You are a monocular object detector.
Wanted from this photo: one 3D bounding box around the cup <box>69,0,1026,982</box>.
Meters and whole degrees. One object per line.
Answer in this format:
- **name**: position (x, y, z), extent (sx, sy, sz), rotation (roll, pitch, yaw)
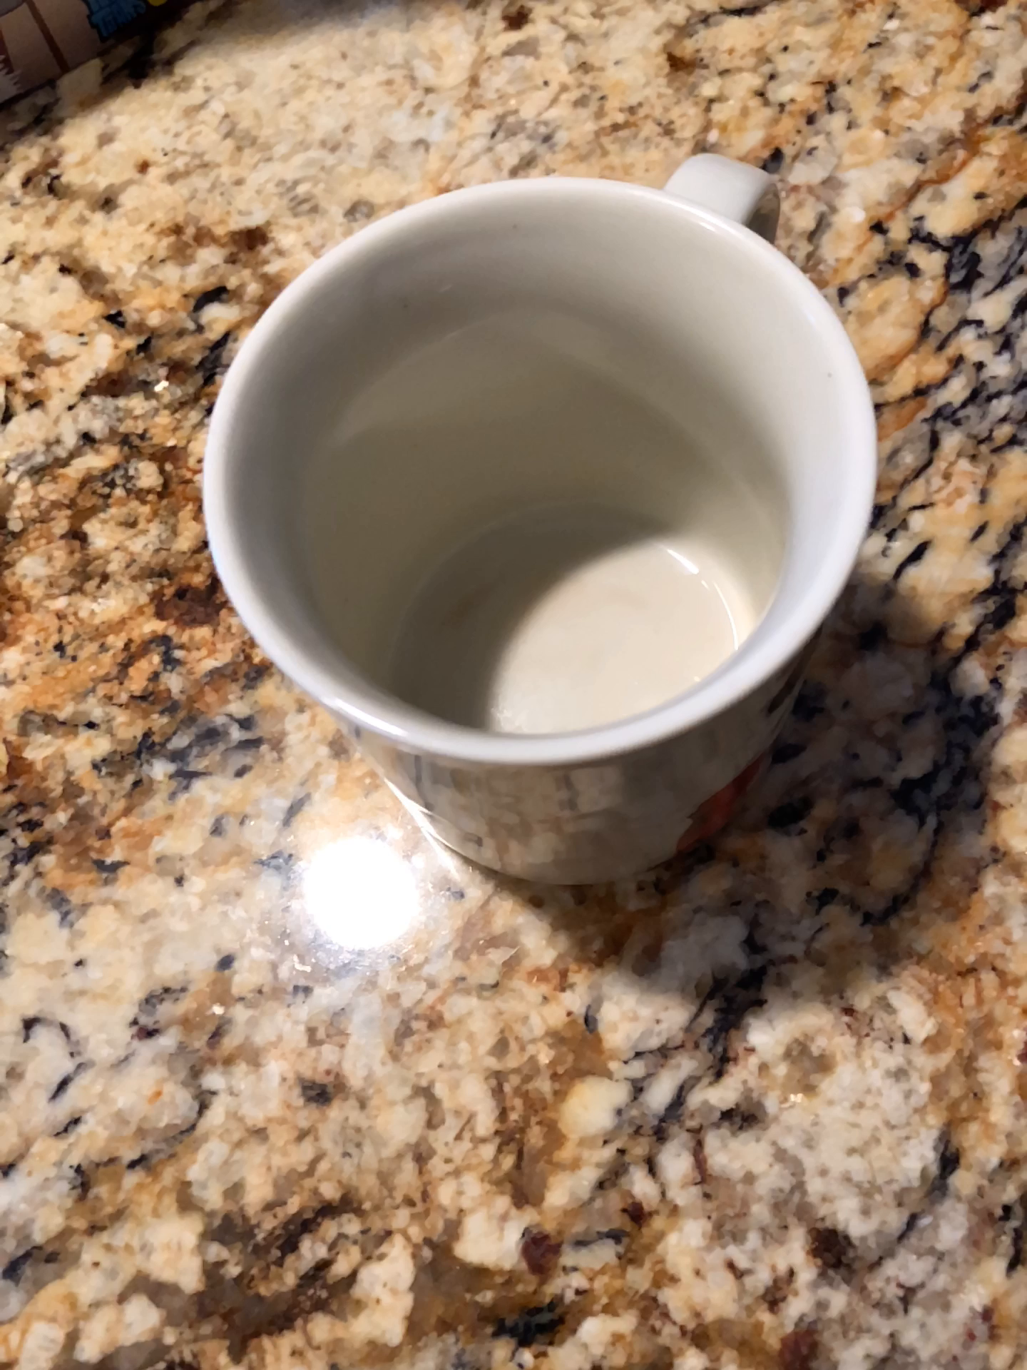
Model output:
- **cup**: position (0.017, -0.032, 0.182), extent (0.090, 0.090, 0.120), rotation (19, 72, 13)
